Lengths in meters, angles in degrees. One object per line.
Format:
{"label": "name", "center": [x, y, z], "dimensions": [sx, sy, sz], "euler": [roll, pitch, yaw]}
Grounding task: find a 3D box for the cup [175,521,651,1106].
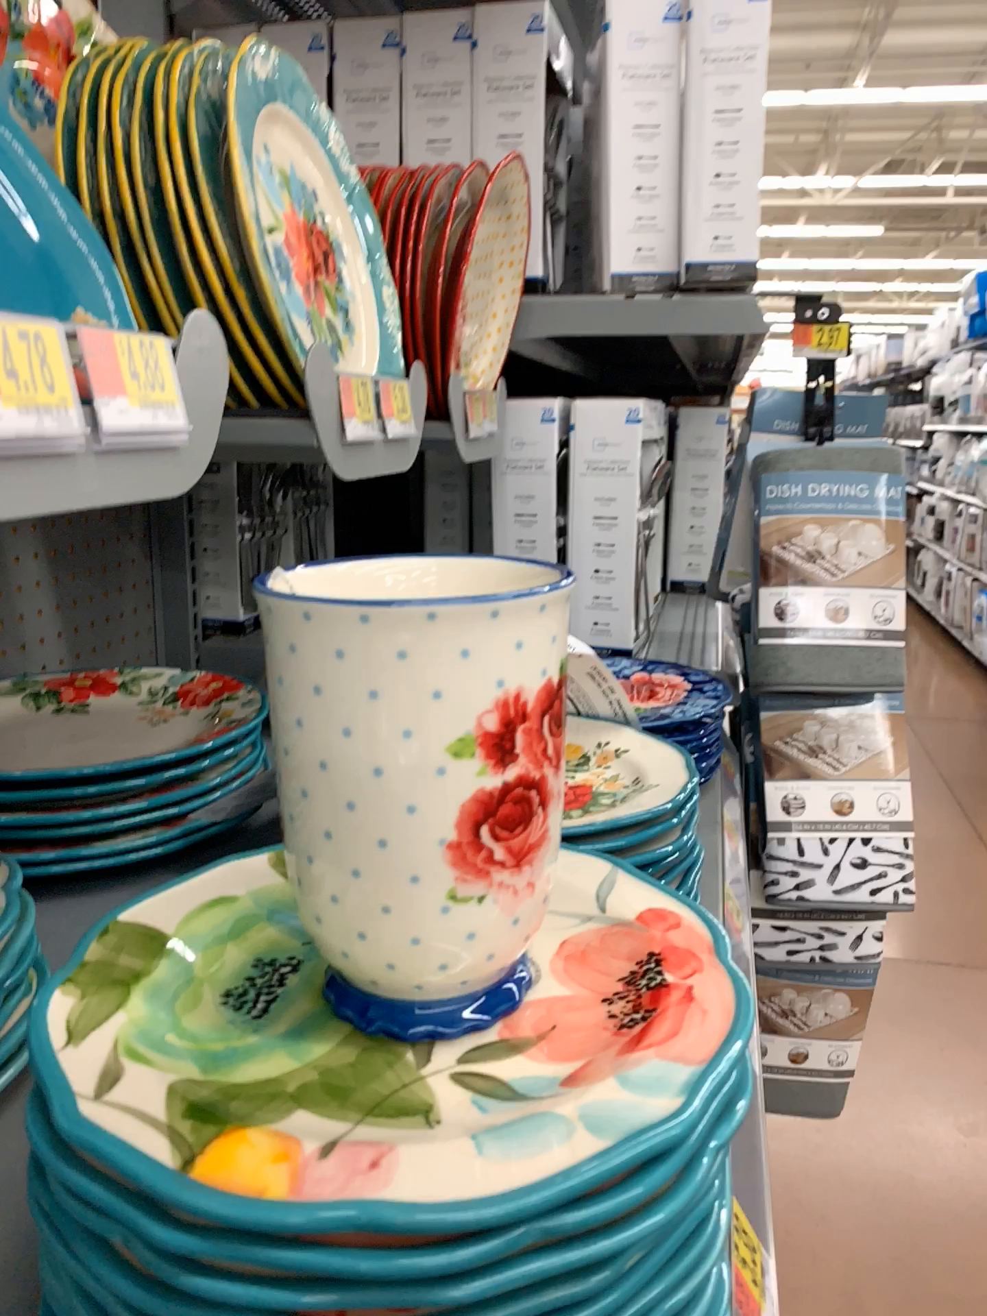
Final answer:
{"label": "cup", "center": [-0.015, 0.030, 0.314], "dimensions": [0.090, 0.130, 0.130], "euler": [6, 14, 23]}
